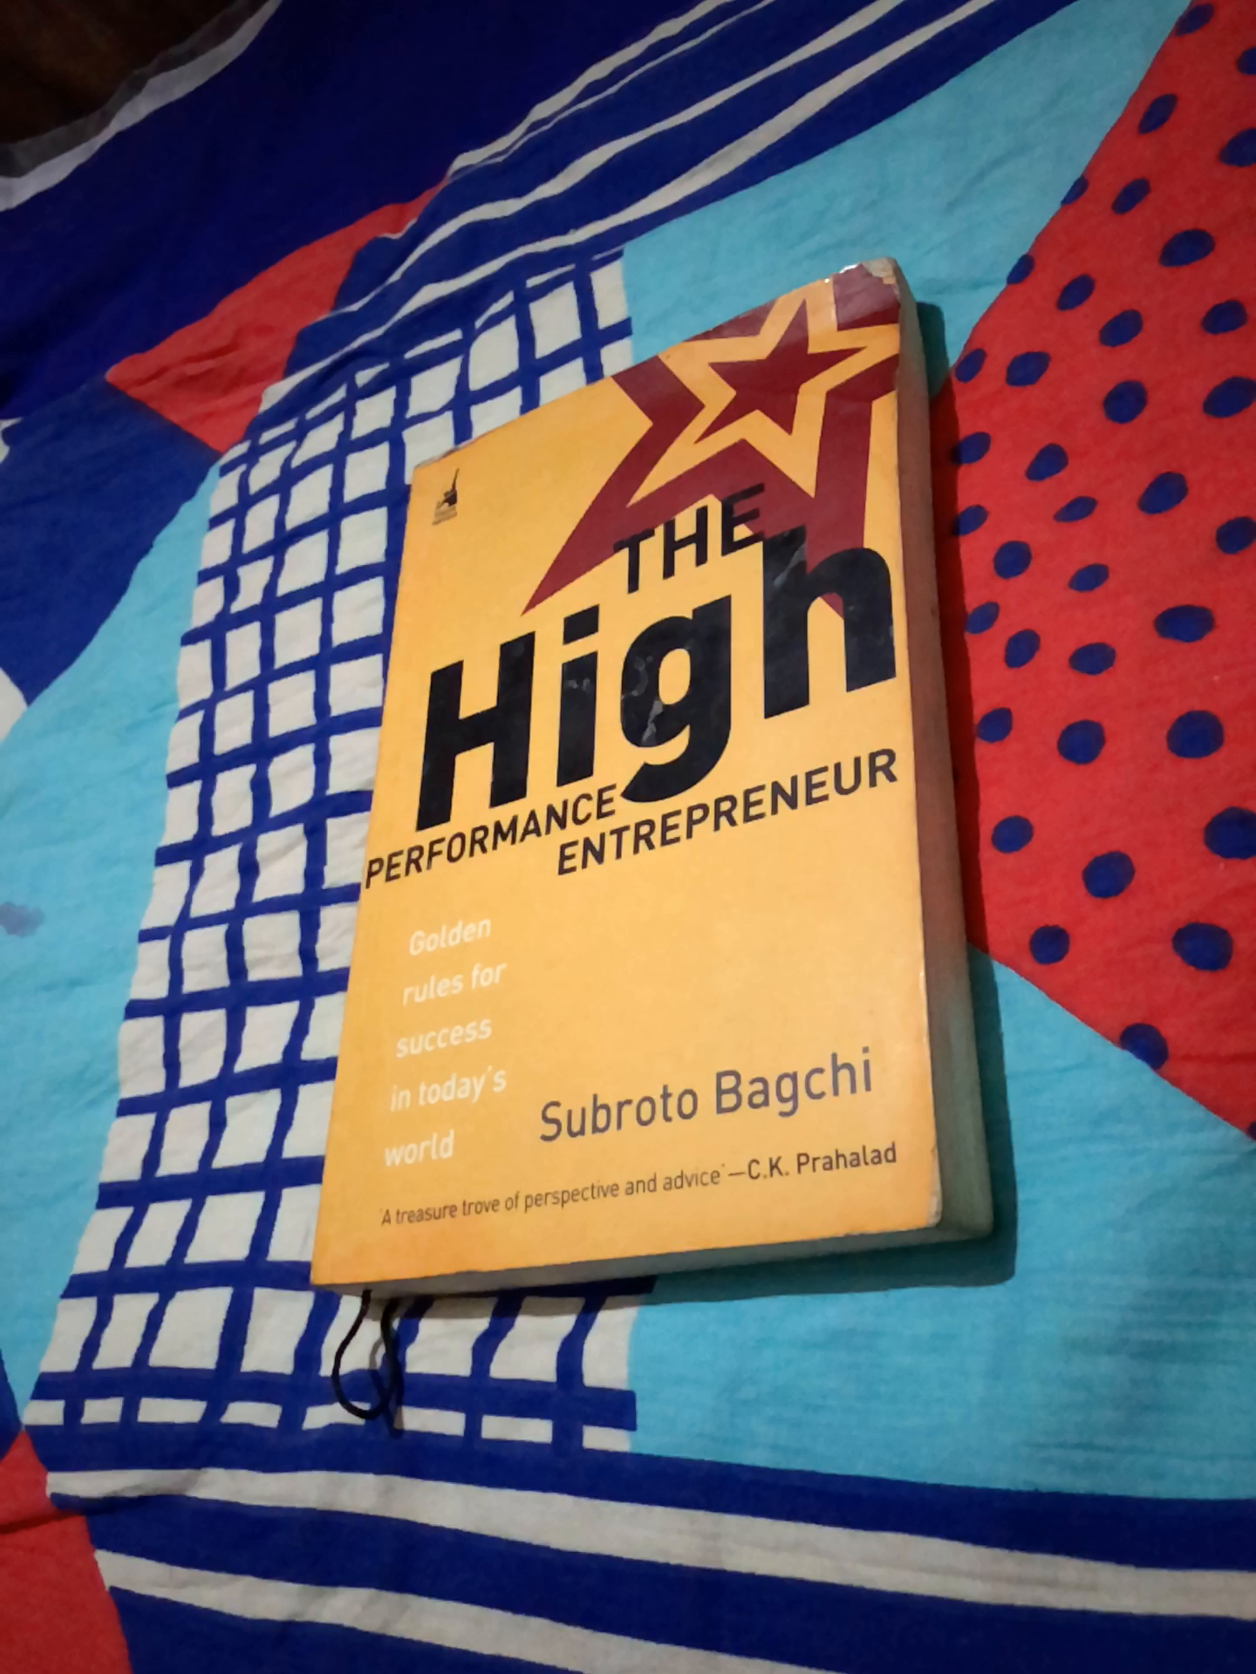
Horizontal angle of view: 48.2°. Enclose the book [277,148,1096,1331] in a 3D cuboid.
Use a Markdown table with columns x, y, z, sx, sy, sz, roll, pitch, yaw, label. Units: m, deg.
| x | y | z | sx | sy | sz | roll | pitch | yaw | label |
| --- | --- | --- | --- | --- | --- | --- | --- | --- | --- |
| 0.006 | -0.025 | 0.299 | 0.140 | 0.040 | 0.230 | -18 | 55 | 29 | book |
